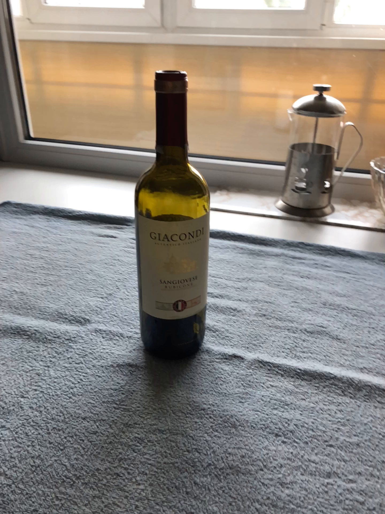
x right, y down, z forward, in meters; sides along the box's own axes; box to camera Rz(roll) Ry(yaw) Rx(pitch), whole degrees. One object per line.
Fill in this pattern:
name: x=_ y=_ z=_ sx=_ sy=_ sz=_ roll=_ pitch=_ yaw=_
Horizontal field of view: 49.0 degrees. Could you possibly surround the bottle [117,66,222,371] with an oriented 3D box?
bottle: x=-0.026 y=-0.030 z=0.436 sx=0.080 sy=0.299 sz=0.080 roll=1 pitch=28 yaw=0
